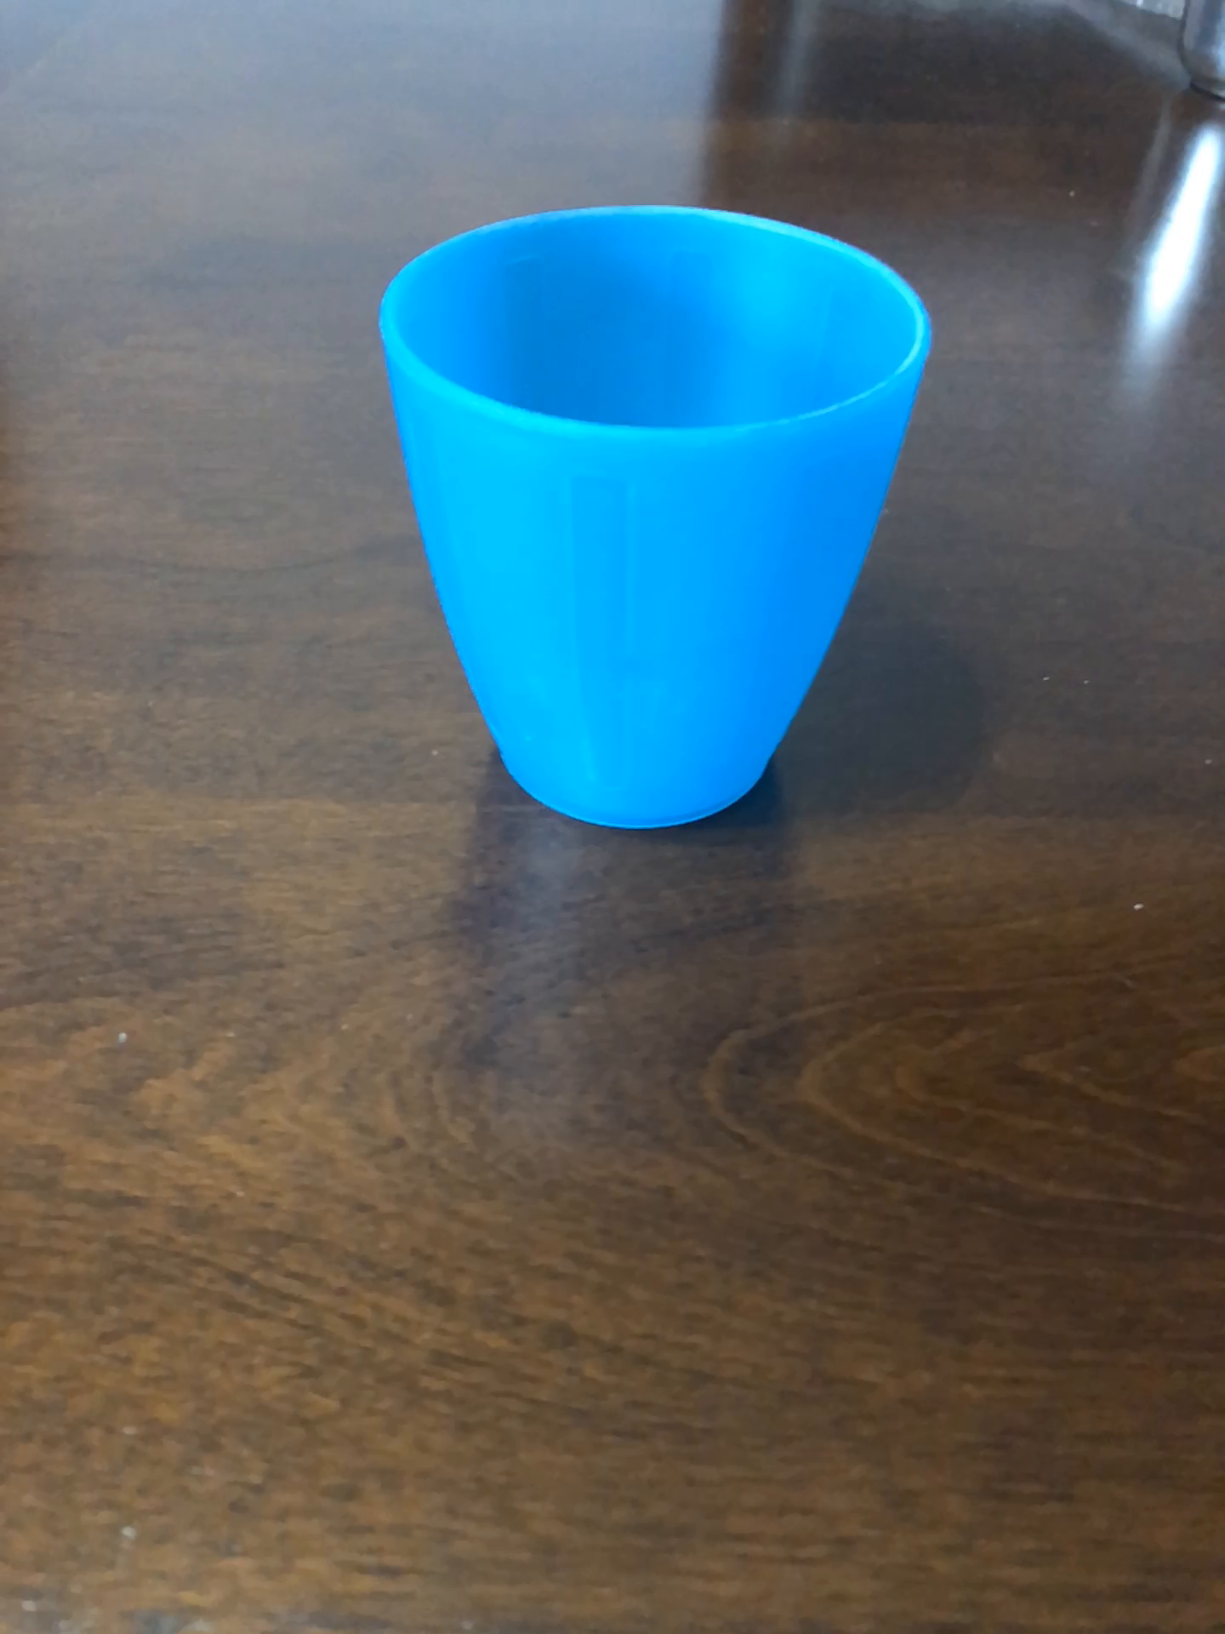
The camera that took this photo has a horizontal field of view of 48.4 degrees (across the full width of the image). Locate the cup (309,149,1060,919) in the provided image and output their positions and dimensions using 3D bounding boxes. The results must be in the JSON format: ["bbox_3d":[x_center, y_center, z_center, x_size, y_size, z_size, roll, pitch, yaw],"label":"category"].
[{"bbox_3d":[0.005,-0.045,0.208,0.080,0.080,0.070,-12,45,-14],"label":"cup"}]
